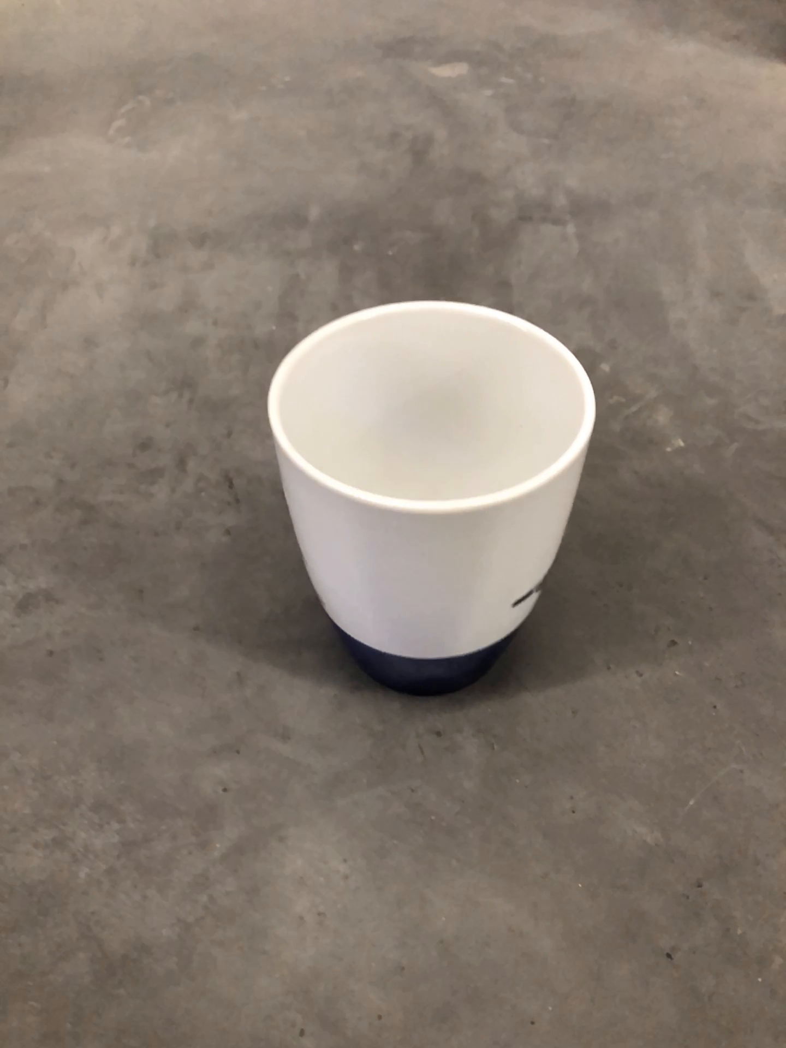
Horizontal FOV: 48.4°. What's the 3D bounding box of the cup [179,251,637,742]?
[{"bbox_3d":[0.008,-0.012,0.291,0.111,0.098,0.128,3,46,3],"label":"cup"}]
